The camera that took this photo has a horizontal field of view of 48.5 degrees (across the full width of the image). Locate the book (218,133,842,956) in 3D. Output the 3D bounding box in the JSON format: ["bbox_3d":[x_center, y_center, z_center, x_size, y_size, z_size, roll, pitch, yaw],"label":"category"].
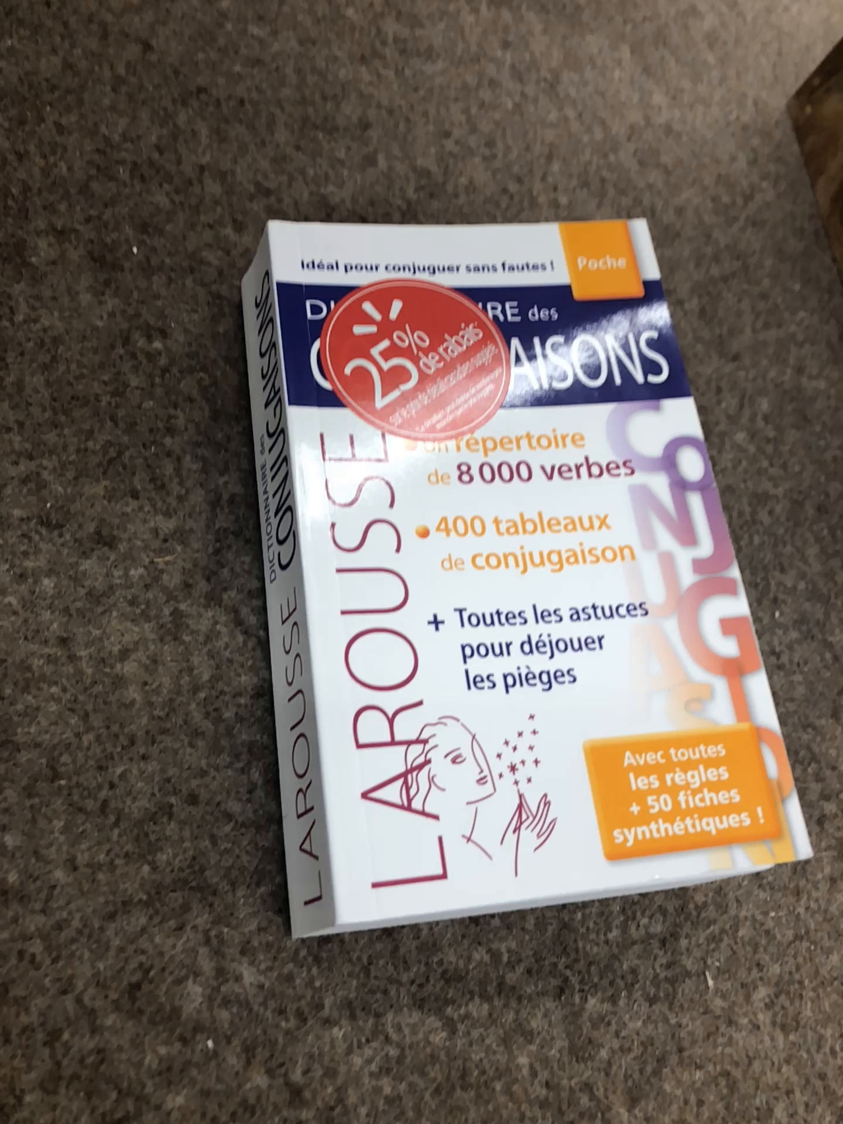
[{"bbox_3d":[0.016,-0.010,0.256,0.125,0.059,0.199,1,65,-21],"label":"book"}]
